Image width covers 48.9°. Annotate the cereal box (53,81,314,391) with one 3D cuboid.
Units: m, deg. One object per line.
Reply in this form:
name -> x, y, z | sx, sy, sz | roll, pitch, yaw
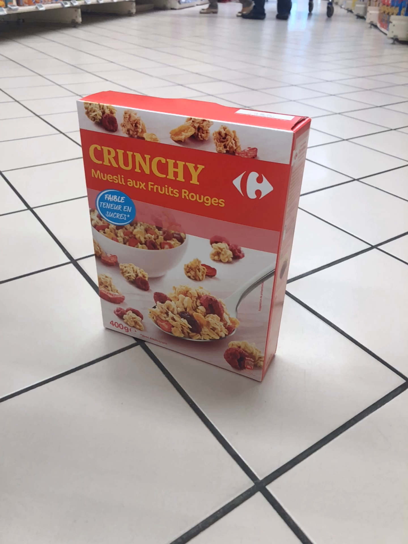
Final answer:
cereal box -> -0.023, -0.031, 0.420 | 0.200, 0.248, 0.060 | 15, 35, 20
